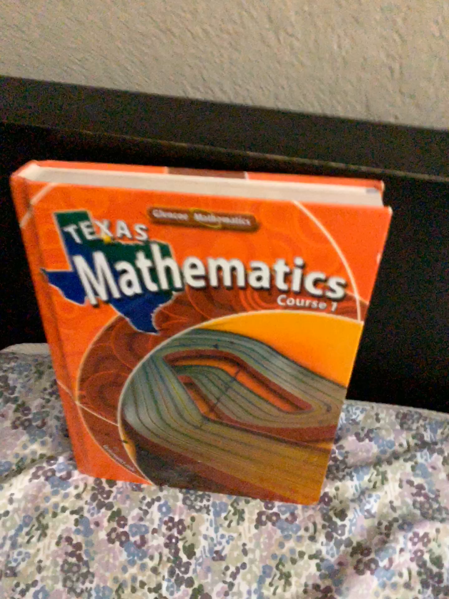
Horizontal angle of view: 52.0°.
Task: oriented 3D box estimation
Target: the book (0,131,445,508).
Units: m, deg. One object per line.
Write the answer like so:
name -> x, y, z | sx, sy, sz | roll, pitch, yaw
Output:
book -> -0.013, 0.043, 0.338 | 0.230, 0.299, 0.050 | 5, 39, 2
